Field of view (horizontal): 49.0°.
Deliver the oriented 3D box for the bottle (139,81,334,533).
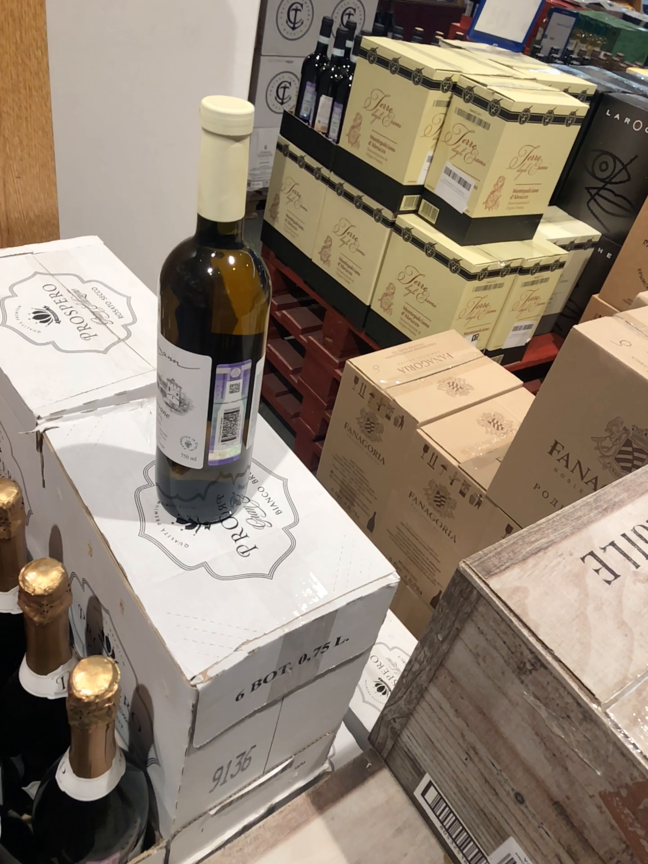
[{"bbox_3d":[-0.072,-0.065,0.475,0.073,0.288,0.080,-7,43,-25],"label":"bottle"}]
